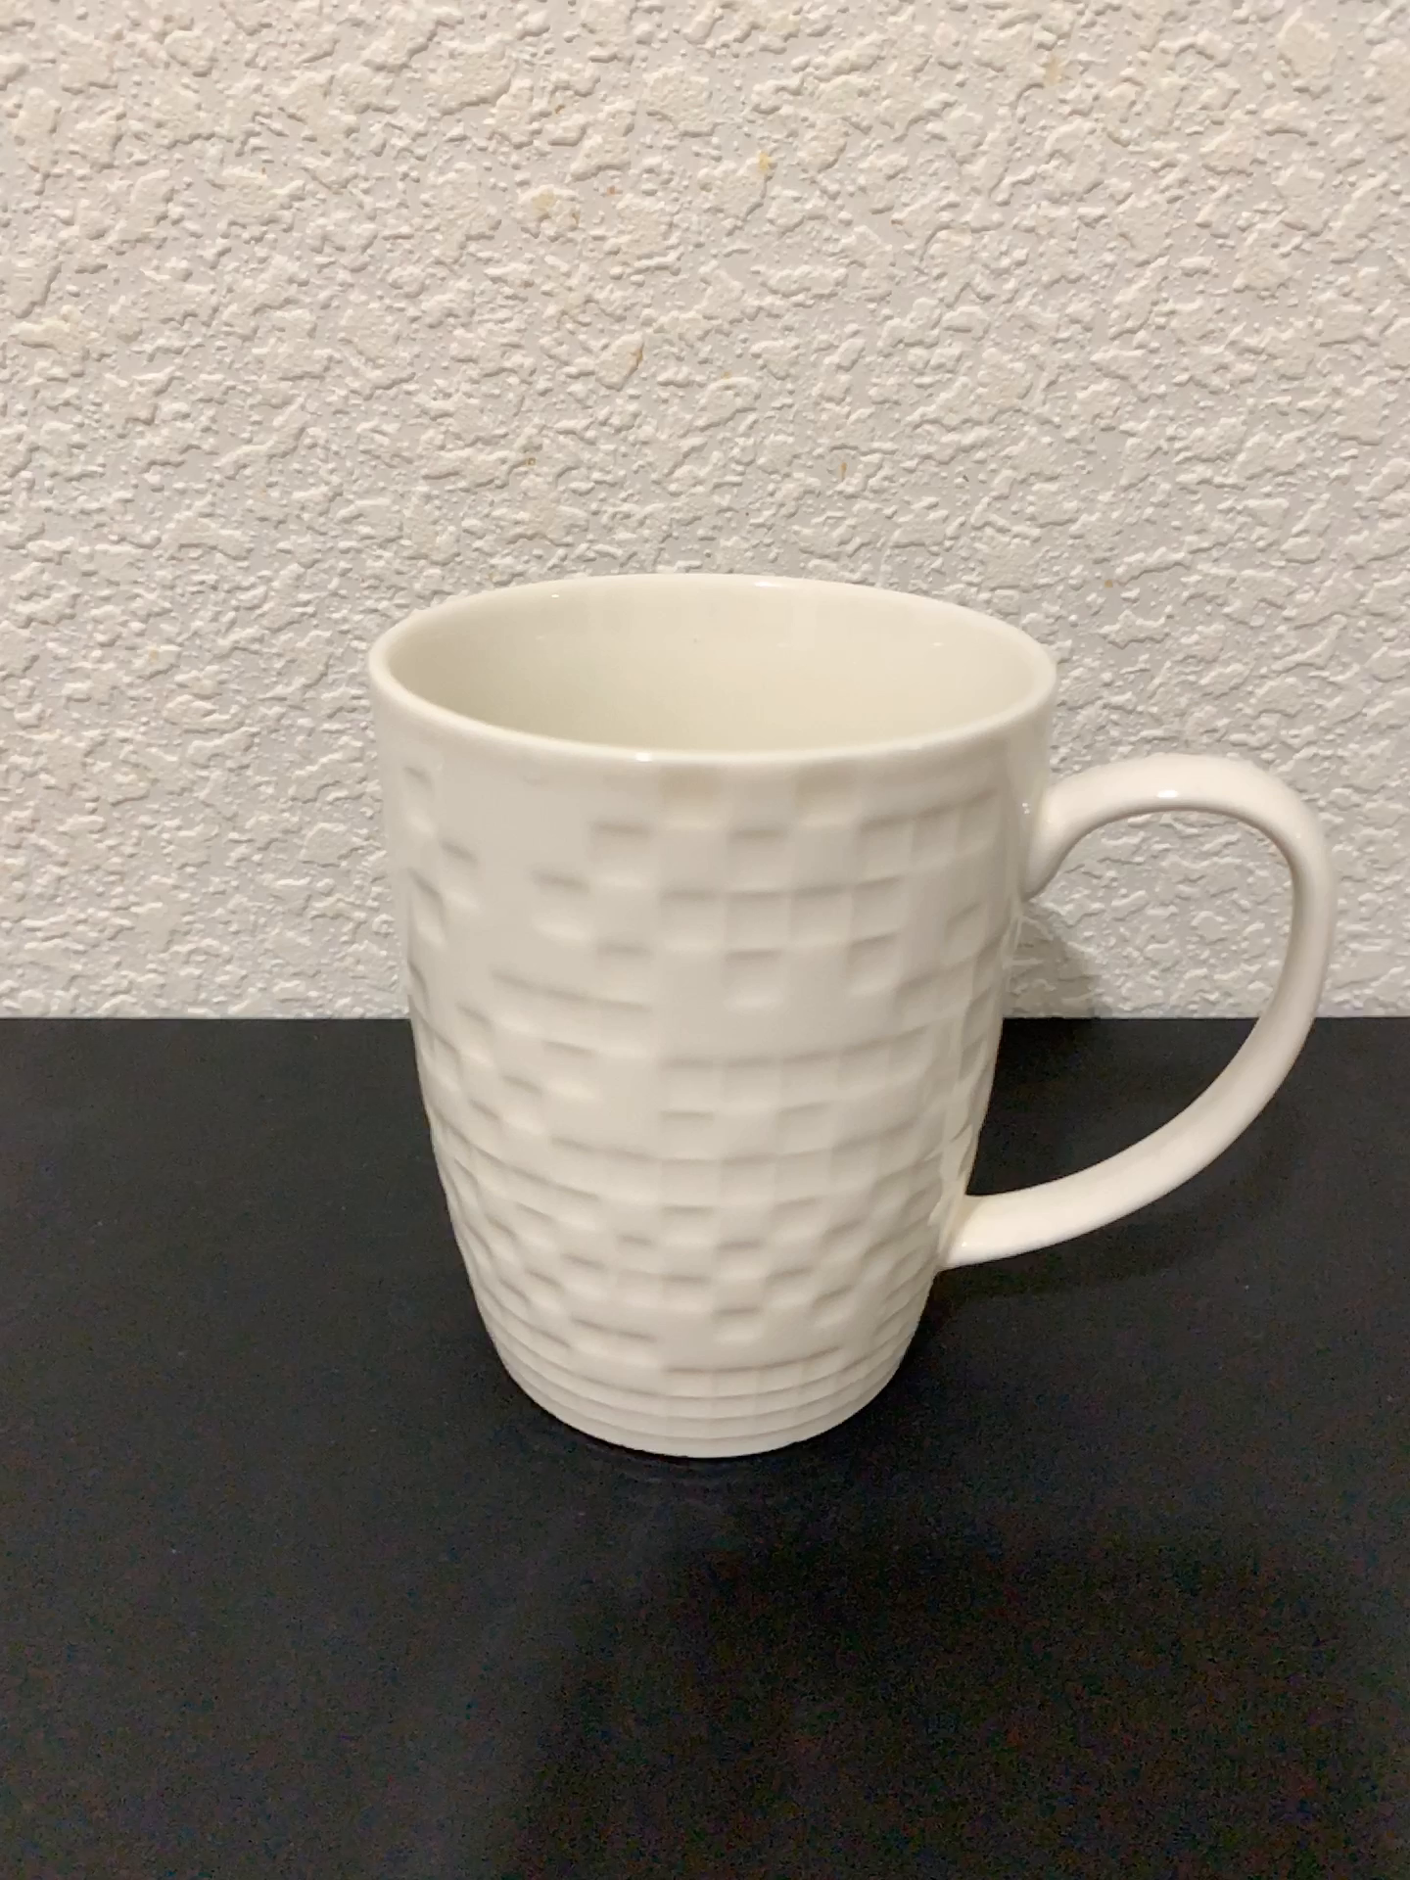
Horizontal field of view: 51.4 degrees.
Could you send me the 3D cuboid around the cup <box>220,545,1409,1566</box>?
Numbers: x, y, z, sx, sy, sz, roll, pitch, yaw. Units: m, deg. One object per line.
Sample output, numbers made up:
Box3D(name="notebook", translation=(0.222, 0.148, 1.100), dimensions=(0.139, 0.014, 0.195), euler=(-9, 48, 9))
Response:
Box3D(name="cup", translation=(0.015, 0.010, 0.200), dimensions=(0.119, 0.105, 0.082), euler=(3, 28, 4))
